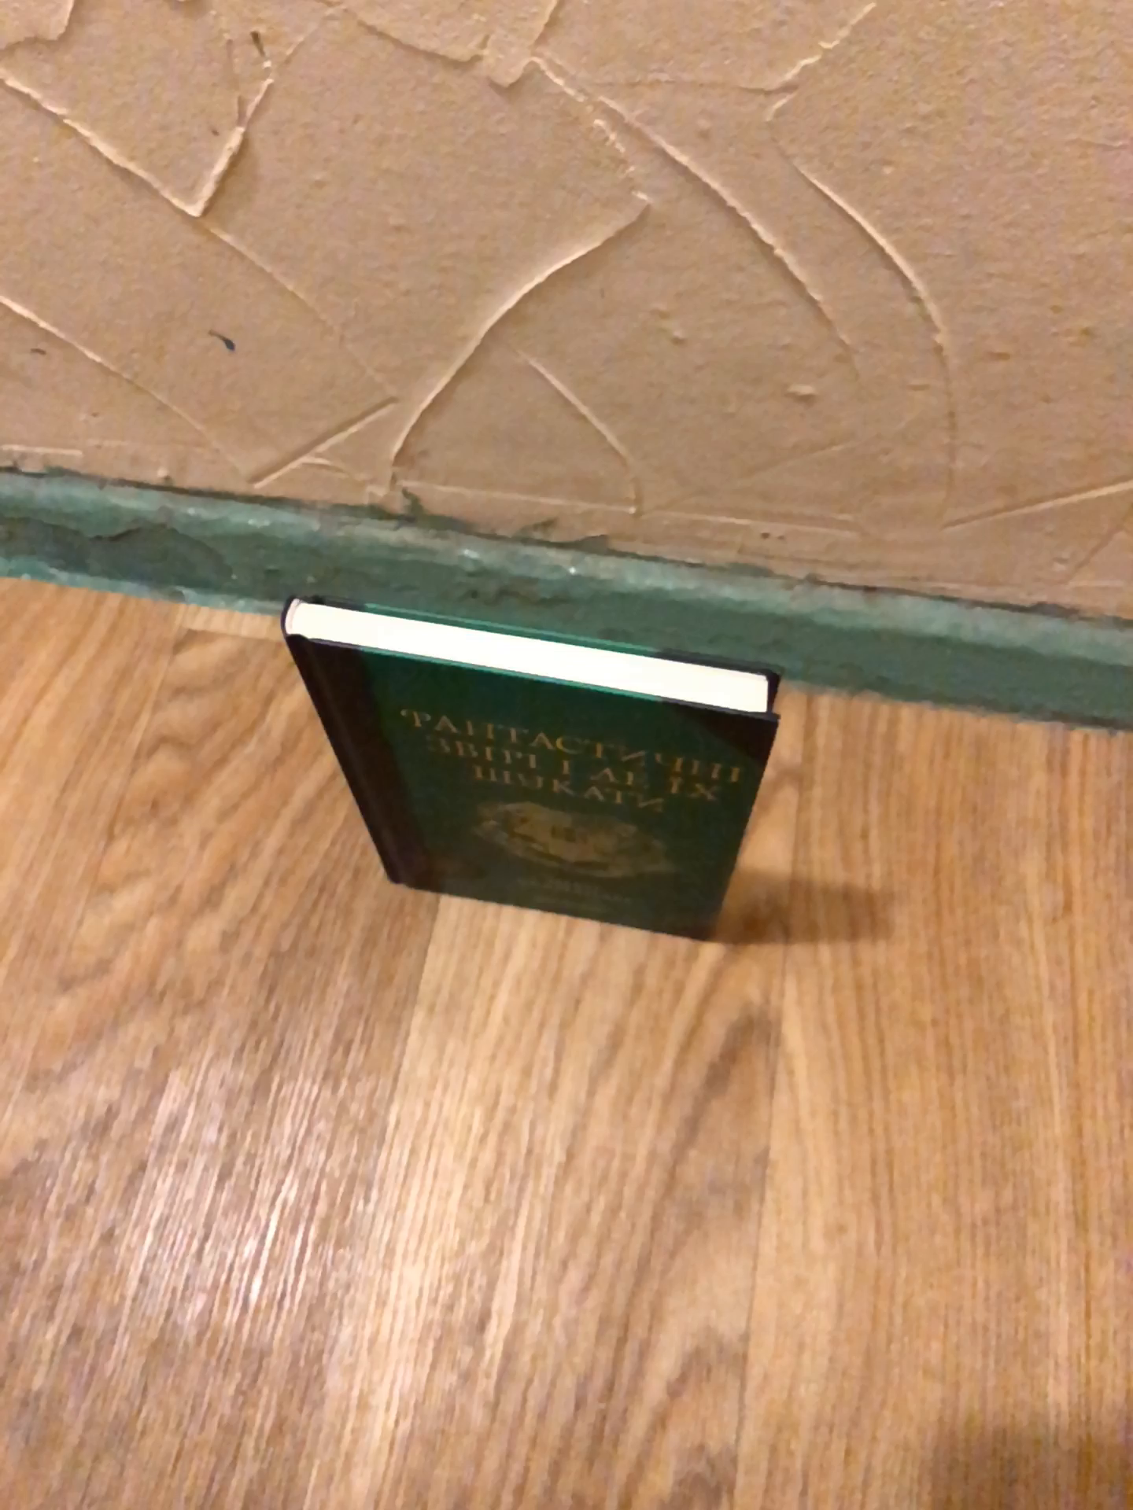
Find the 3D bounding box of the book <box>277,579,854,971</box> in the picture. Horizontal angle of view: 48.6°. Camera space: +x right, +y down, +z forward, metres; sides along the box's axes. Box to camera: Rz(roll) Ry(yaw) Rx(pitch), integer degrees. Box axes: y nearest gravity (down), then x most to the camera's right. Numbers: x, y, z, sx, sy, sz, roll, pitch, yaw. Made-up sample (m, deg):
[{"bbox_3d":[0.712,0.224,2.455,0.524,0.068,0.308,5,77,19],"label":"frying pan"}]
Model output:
[{"bbox_3d":[0.001,0.019,0.414,0.148,0.197,0.024,10,65,6],"label":"book"}]
